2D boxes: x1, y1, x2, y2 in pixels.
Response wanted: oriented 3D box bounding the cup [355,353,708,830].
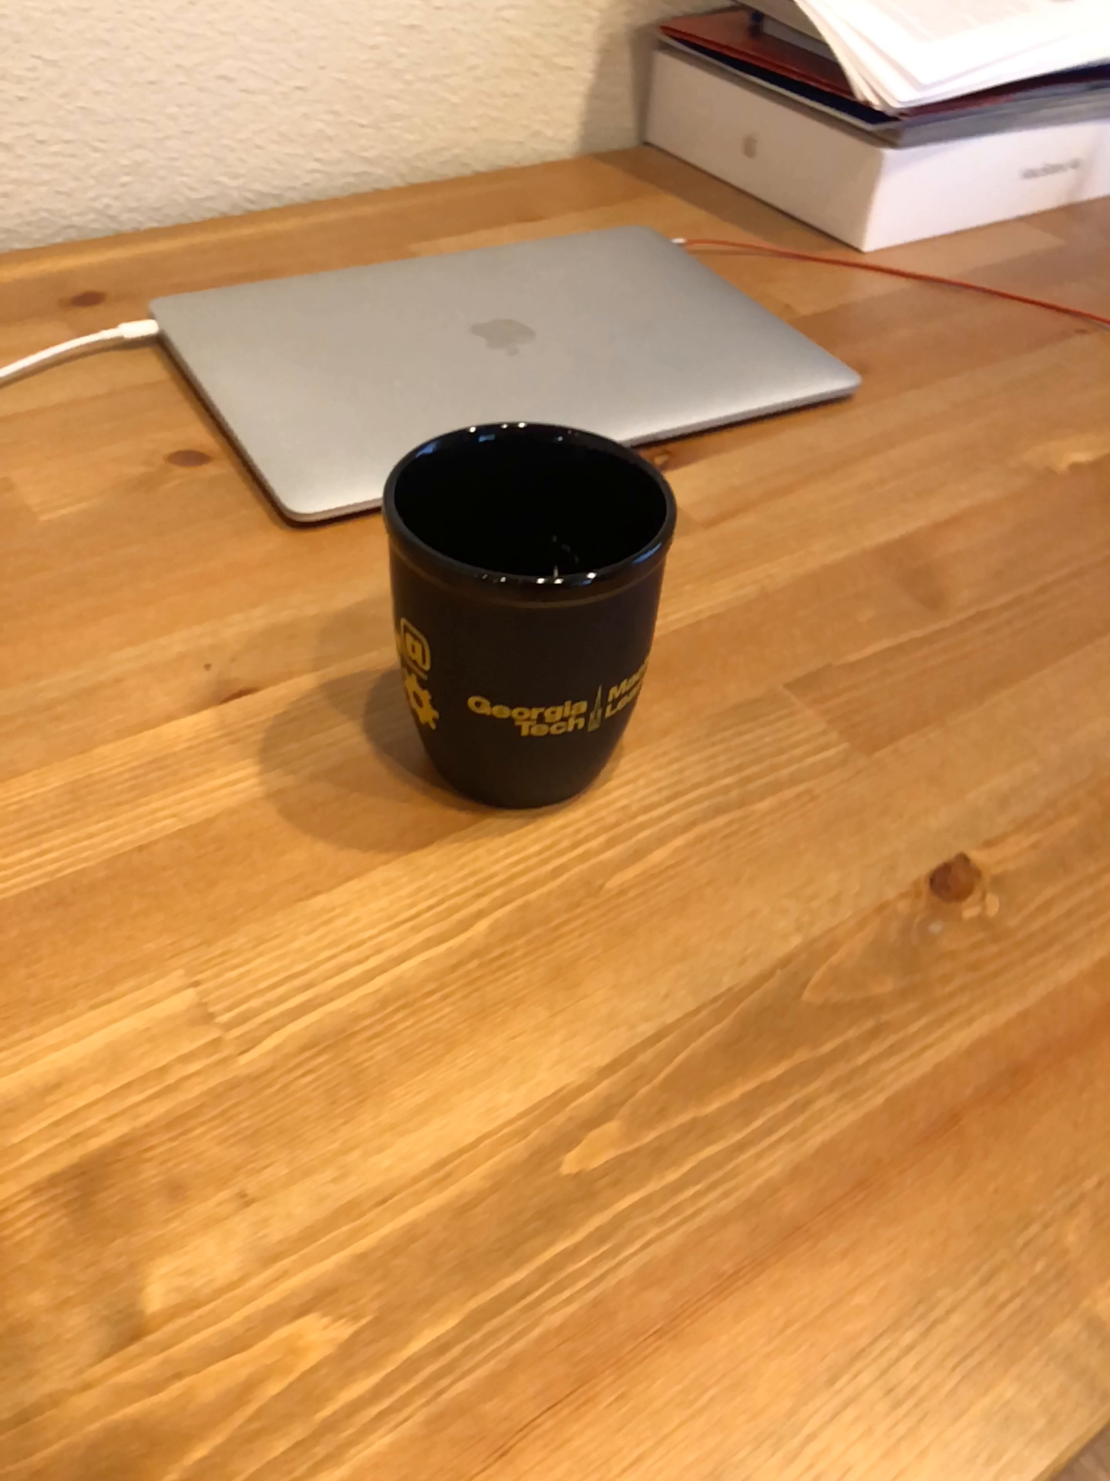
[{"bbox_3d":[-0.003,-0.051,0.398,0.090,0.090,0.120,7,42,3],"label":"cup"}]
